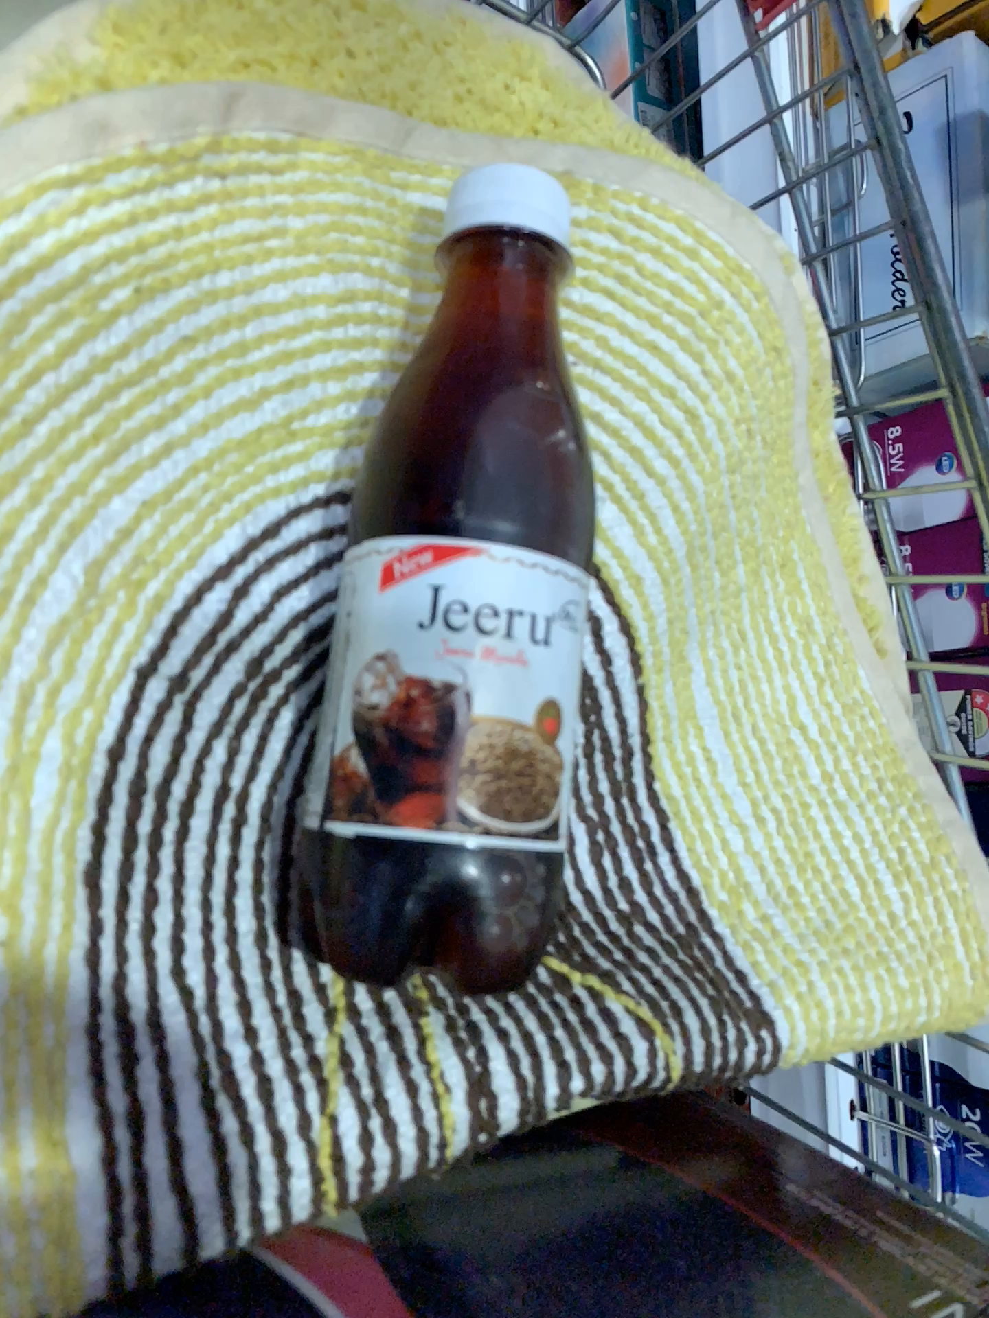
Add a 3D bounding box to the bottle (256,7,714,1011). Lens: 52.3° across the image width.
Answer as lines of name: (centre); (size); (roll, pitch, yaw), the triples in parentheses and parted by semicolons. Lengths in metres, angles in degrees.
bottle: (-0.003, -0.026, 0.213); (0.060, 0.060, 0.180); (10, 81, -22)
